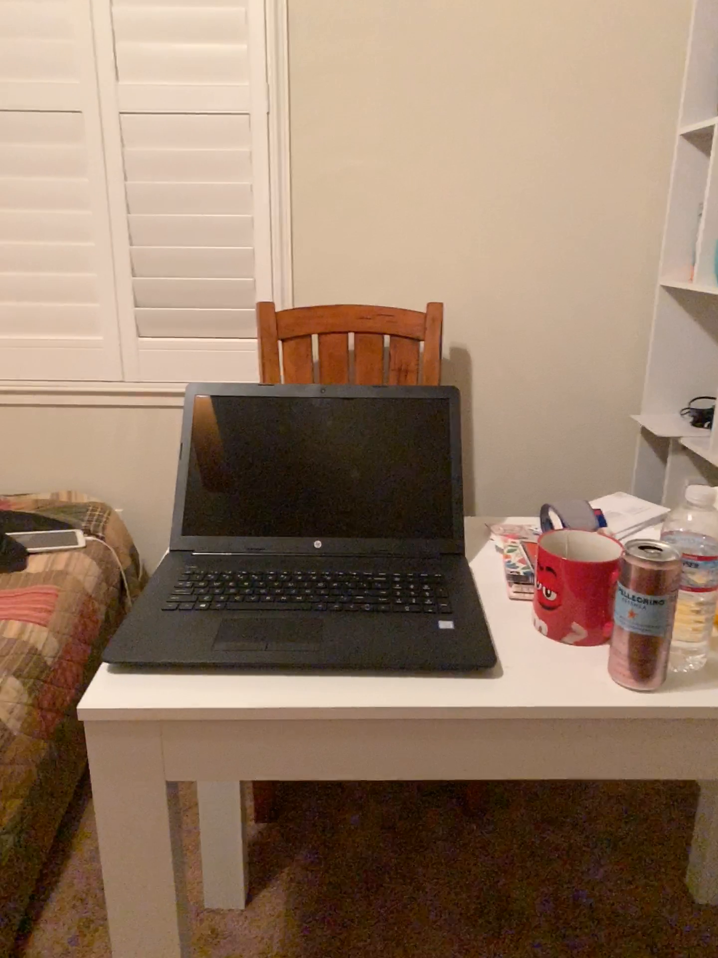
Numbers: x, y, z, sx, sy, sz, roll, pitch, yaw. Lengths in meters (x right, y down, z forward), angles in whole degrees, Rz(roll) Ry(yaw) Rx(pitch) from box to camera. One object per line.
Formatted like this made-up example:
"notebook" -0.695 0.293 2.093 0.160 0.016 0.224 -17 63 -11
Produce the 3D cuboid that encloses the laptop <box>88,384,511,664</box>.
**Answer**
"laptop" -0.054 0.023 0.917 0.400 0.197 0.418 1 19 1
